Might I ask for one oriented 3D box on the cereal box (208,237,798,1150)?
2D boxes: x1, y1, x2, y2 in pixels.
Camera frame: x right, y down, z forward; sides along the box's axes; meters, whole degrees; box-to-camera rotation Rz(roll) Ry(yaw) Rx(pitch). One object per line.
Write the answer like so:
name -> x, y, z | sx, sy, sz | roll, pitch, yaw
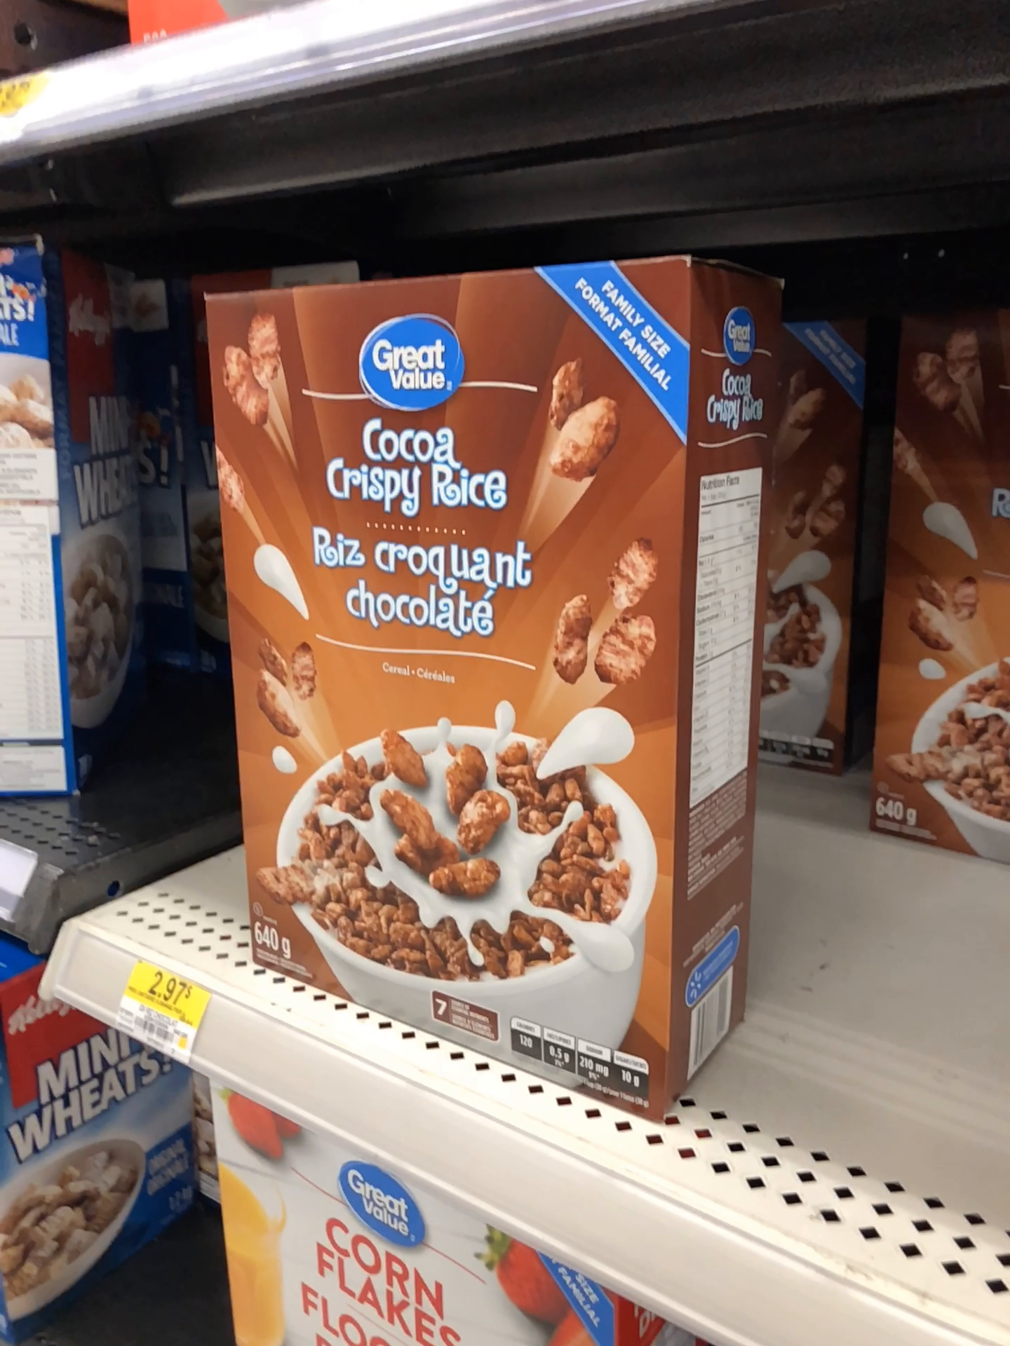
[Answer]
cereal box -> -0.006, -0.002, 0.446 | 0.210, 0.299, 0.080 | 8, 16, 34
